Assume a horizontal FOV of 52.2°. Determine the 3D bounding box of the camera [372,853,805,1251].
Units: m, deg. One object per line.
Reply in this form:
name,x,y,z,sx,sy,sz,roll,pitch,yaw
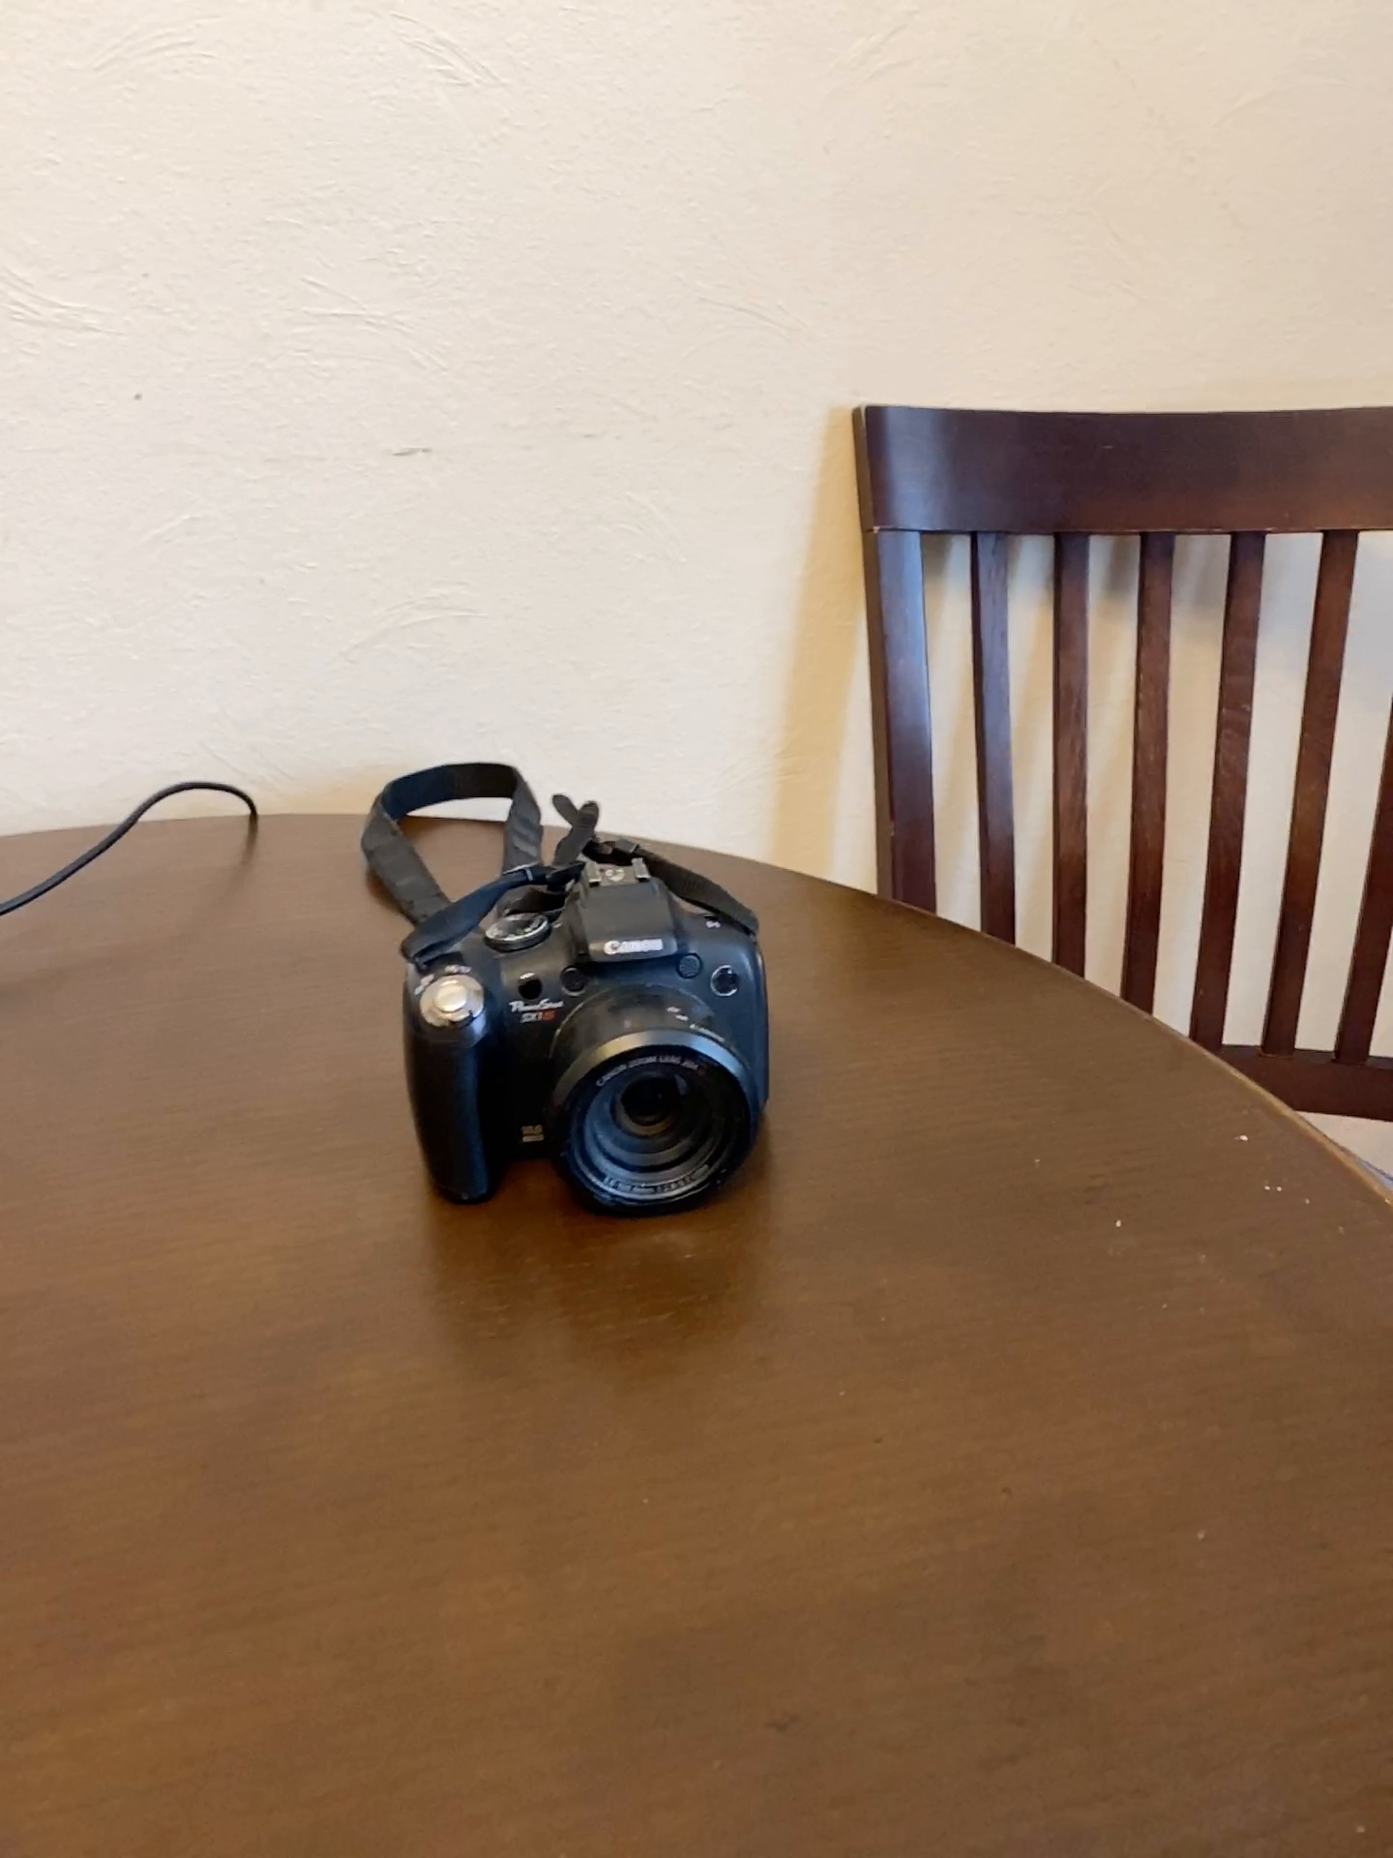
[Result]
camera,-0.035,0.036,0.457,0.123,0.088,0.082,-4,24,-8
